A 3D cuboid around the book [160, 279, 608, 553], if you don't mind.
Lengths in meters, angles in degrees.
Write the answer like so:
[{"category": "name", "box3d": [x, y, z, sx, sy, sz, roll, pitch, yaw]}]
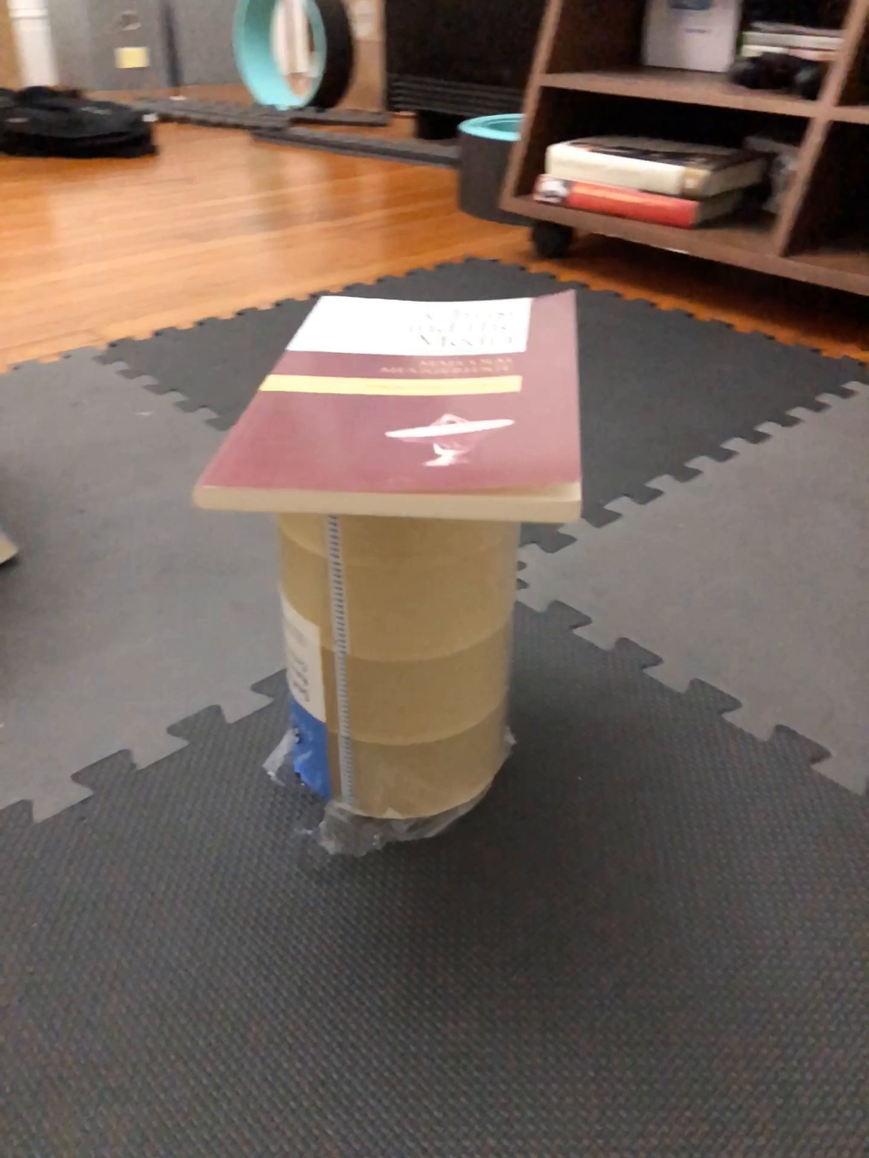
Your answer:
[{"category": "book", "box3d": [-0.008, -0.079, 0.388, 0.140, 0.020, 0.211, 3, 34, 4]}]
